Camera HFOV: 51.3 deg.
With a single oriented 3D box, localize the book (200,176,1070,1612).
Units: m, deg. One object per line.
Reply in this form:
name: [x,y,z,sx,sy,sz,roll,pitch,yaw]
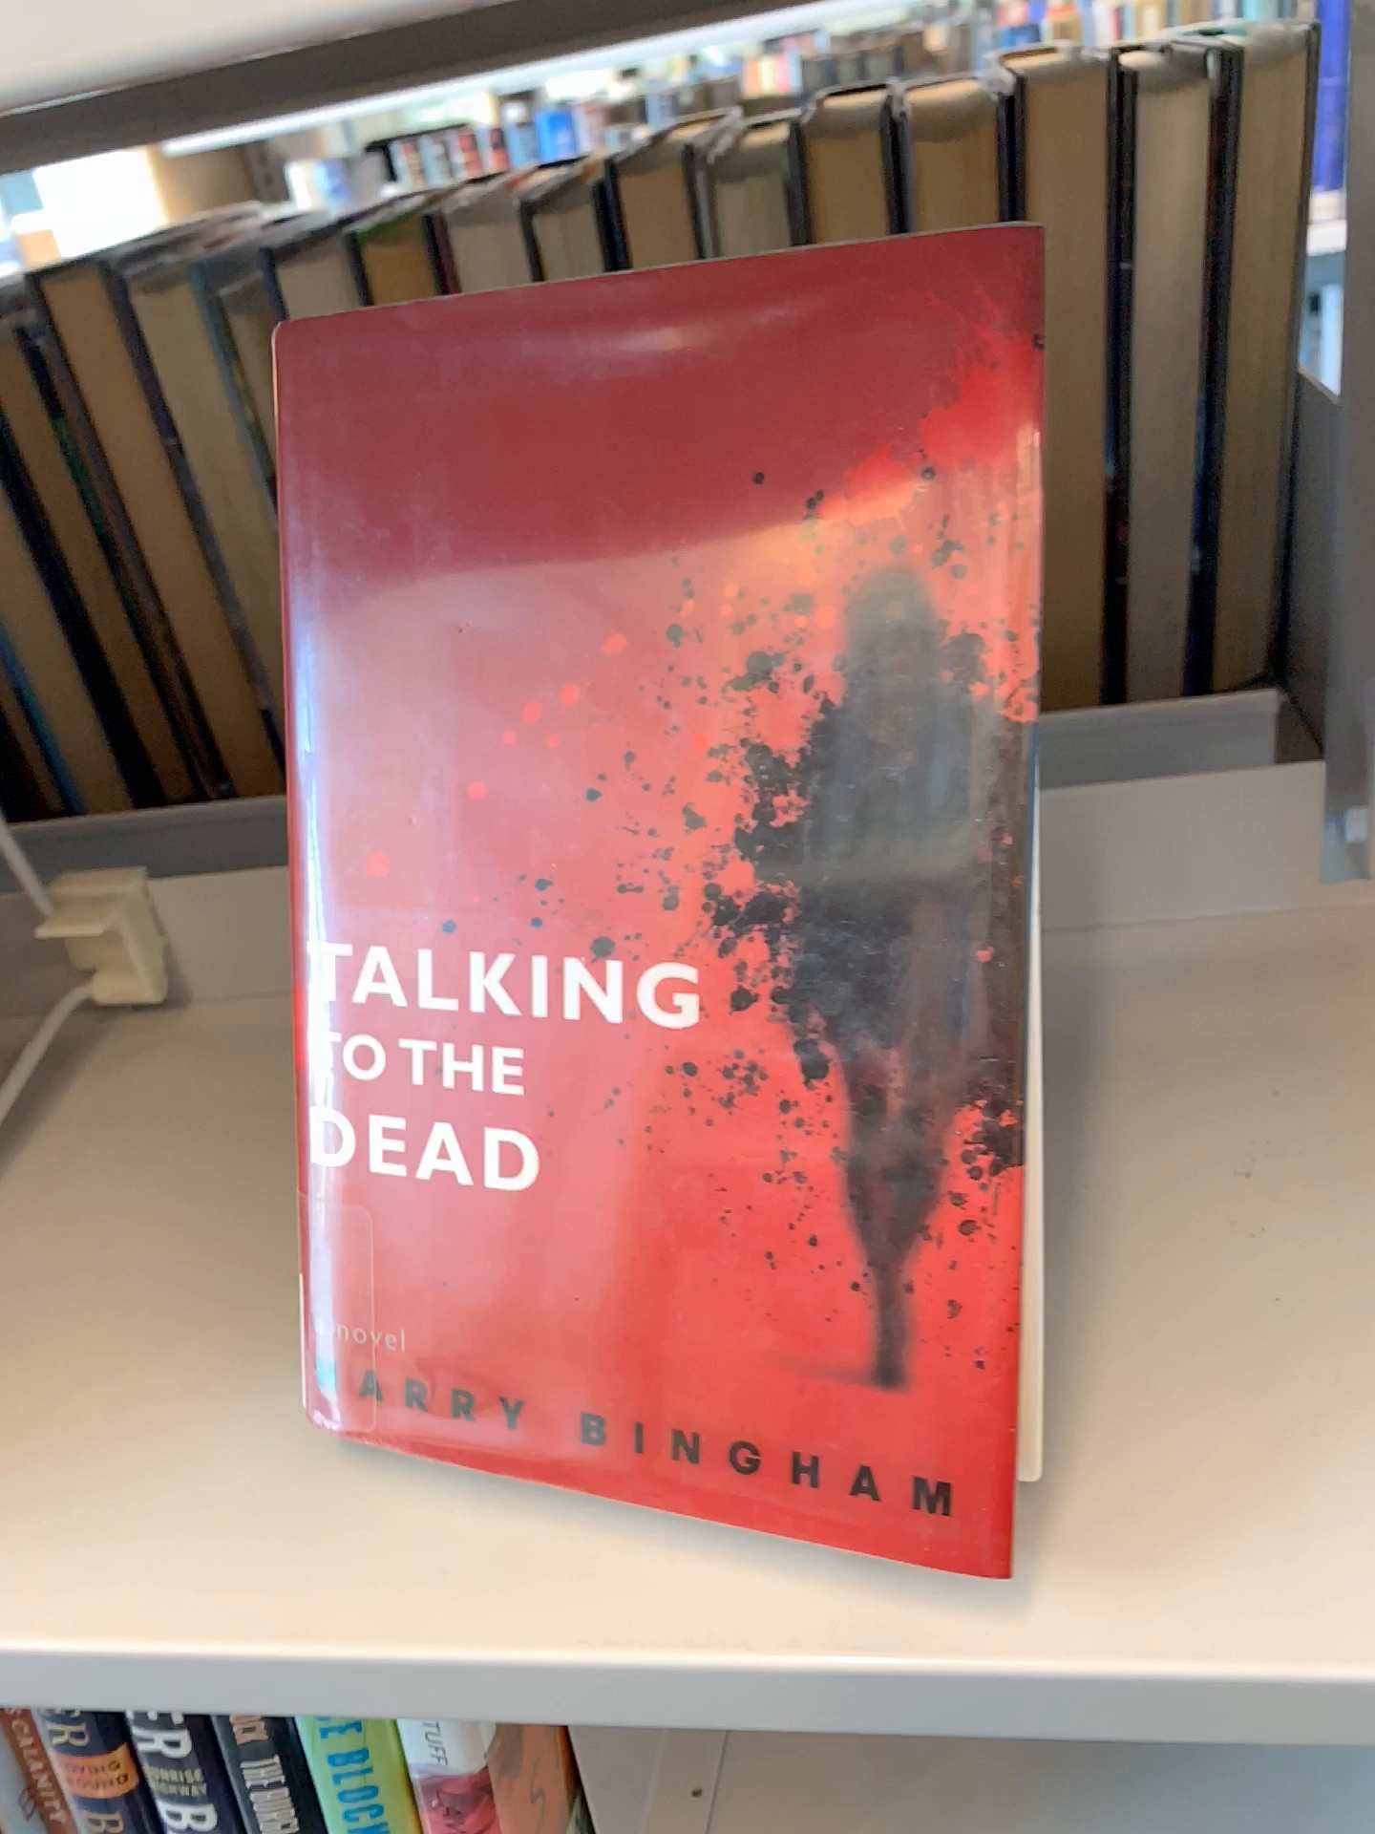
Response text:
book: [-0.014,-0.004,0.281,0.164,0.231,0.040,2,5,23]
